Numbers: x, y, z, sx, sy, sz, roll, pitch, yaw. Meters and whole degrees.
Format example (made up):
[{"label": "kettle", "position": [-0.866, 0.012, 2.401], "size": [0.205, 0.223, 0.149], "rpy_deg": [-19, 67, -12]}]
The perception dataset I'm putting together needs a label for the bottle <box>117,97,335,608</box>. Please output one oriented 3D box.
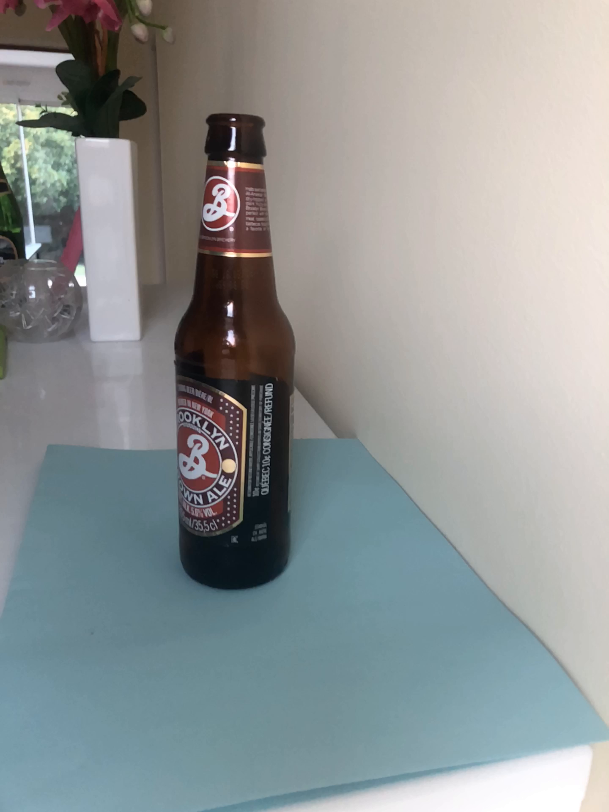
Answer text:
[{"label": "bottle", "position": [-0.038, -0.026, 0.340], "size": [0.070, 0.229, 0.070], "rpy_deg": [1, 18, 0]}]
